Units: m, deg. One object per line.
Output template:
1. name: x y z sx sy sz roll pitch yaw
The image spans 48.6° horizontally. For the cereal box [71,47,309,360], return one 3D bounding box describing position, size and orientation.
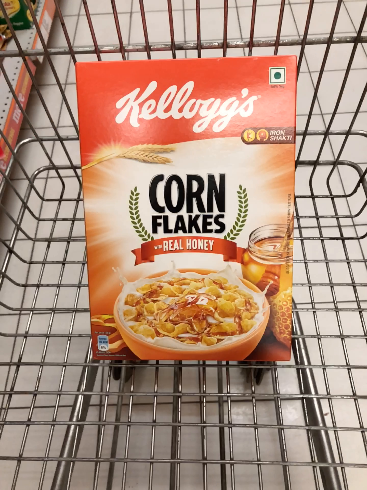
1. cereal box: 0.008 -0.033 0.384 0.190 0.080 0.260 -1 99 3
